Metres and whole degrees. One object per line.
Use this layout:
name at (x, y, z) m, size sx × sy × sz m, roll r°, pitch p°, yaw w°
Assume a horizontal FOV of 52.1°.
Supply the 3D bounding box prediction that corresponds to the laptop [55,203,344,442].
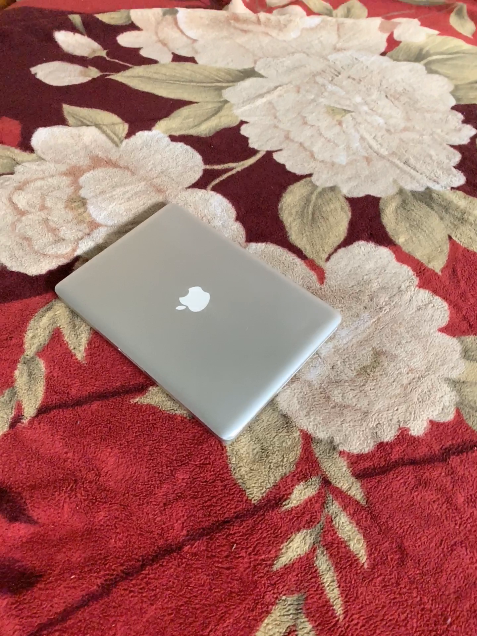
laptop at (-0.055, -0.019, 0.622) m, size 0.310 × 0.001 × 0.210 m, roll 36°, pitch 65°, yaw 22°
